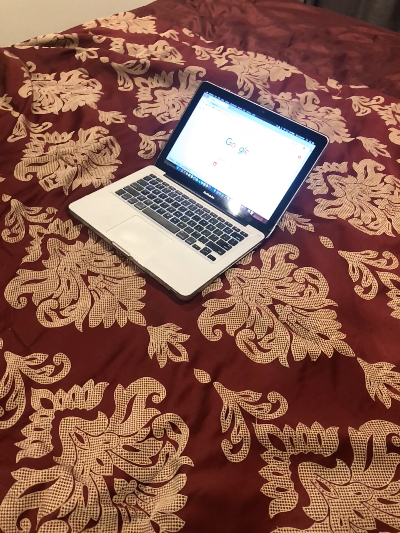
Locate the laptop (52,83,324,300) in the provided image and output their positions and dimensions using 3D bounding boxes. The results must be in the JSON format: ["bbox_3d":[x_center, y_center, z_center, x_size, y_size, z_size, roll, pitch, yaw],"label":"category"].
[{"bbox_3d":[-0.012,-0.158,0.771,0.293,0.133,0.343,36,53,26],"label":"laptop"}]
